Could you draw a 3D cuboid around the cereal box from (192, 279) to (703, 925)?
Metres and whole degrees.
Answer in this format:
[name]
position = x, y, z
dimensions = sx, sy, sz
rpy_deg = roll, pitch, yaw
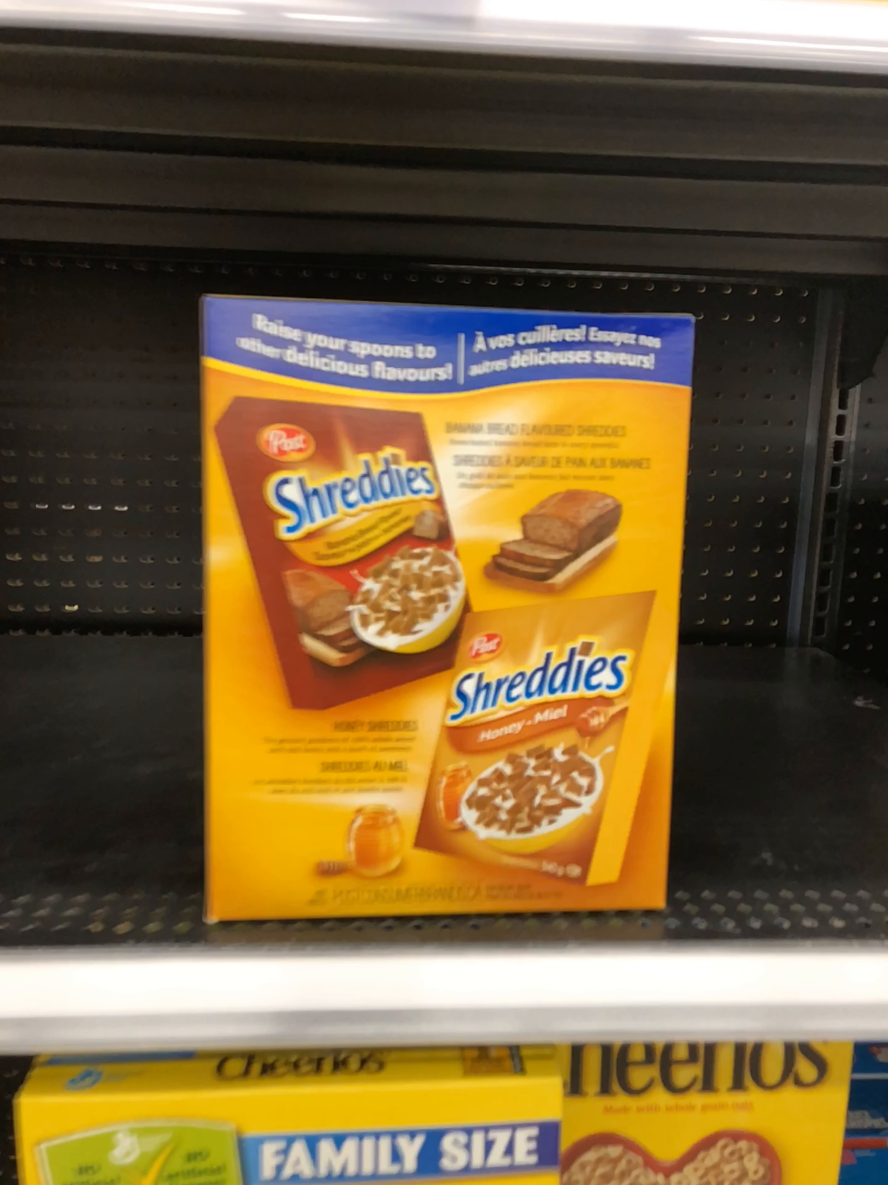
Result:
[cereal box]
position = -0.002, 0.006, 0.445
dimensions = 0.210, 0.269, 0.060
rpy_deg = 1, 7, -6
